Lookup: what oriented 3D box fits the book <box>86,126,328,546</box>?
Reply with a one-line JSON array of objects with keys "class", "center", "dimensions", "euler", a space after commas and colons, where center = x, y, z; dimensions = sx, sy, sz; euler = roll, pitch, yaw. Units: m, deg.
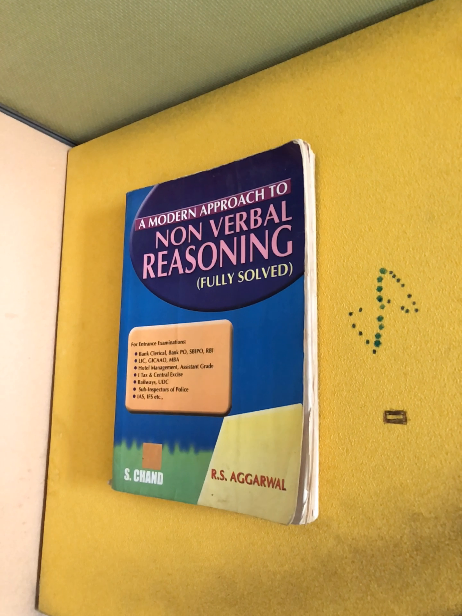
[{"class": "book", "center": [-0.022, 0.018, 0.355], "dimensions": [0.171, 0.040, 0.240], "euler": [-6, 78, 35]}]
